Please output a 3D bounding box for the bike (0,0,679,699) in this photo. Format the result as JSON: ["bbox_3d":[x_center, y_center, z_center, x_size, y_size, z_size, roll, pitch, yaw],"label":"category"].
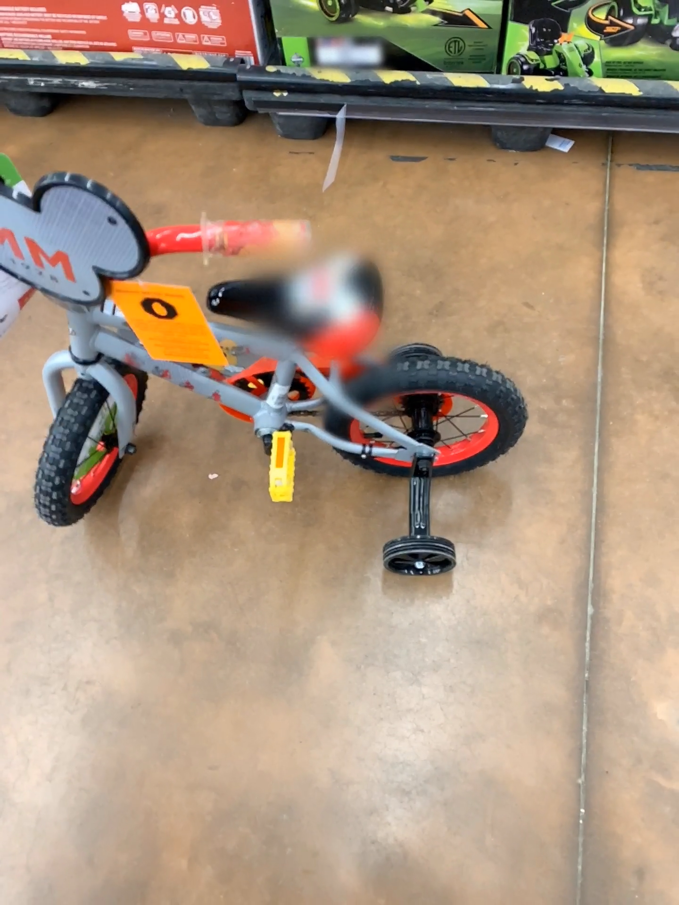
[{"bbox_3d":[-0.101,-0.076,0.824,0.678,0.742,0.450,-12,59,1],"label":"bike"}]
